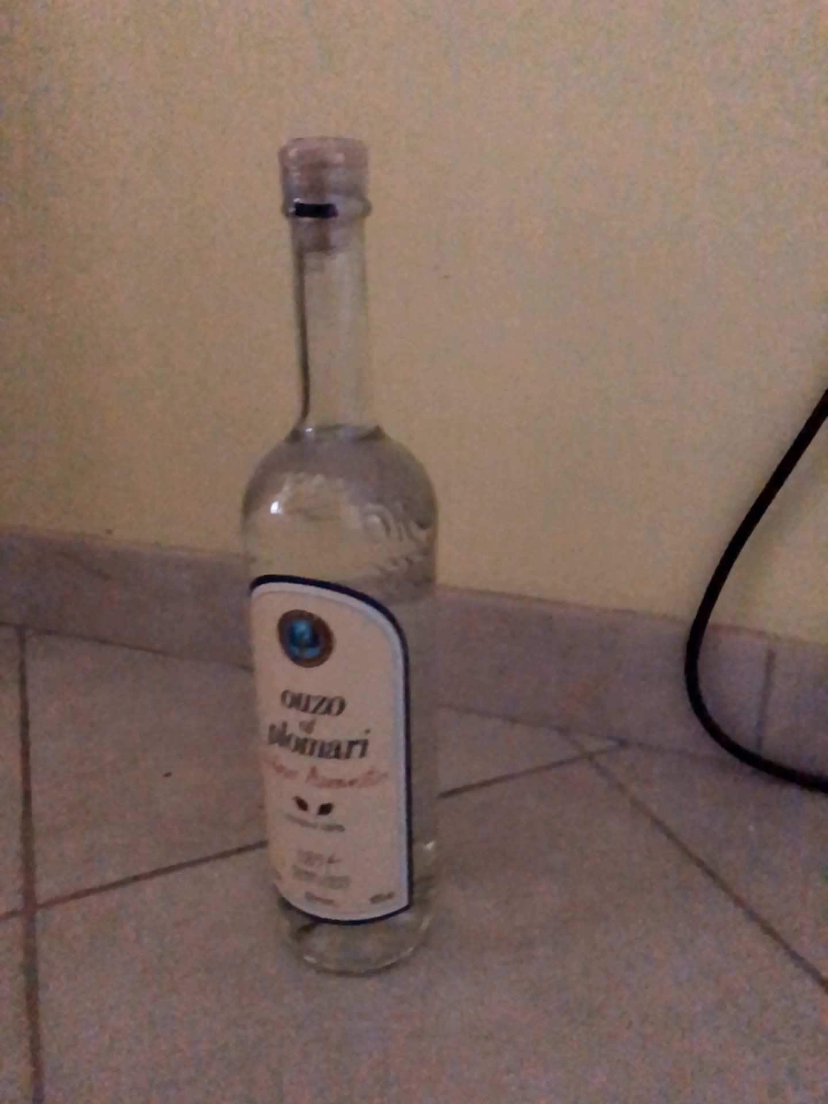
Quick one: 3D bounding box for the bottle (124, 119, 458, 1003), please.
[{"bbox_3d":[-0.032,0.012,0.352,0.080,0.318,0.080,-1,21,0],"label":"bottle"}]
